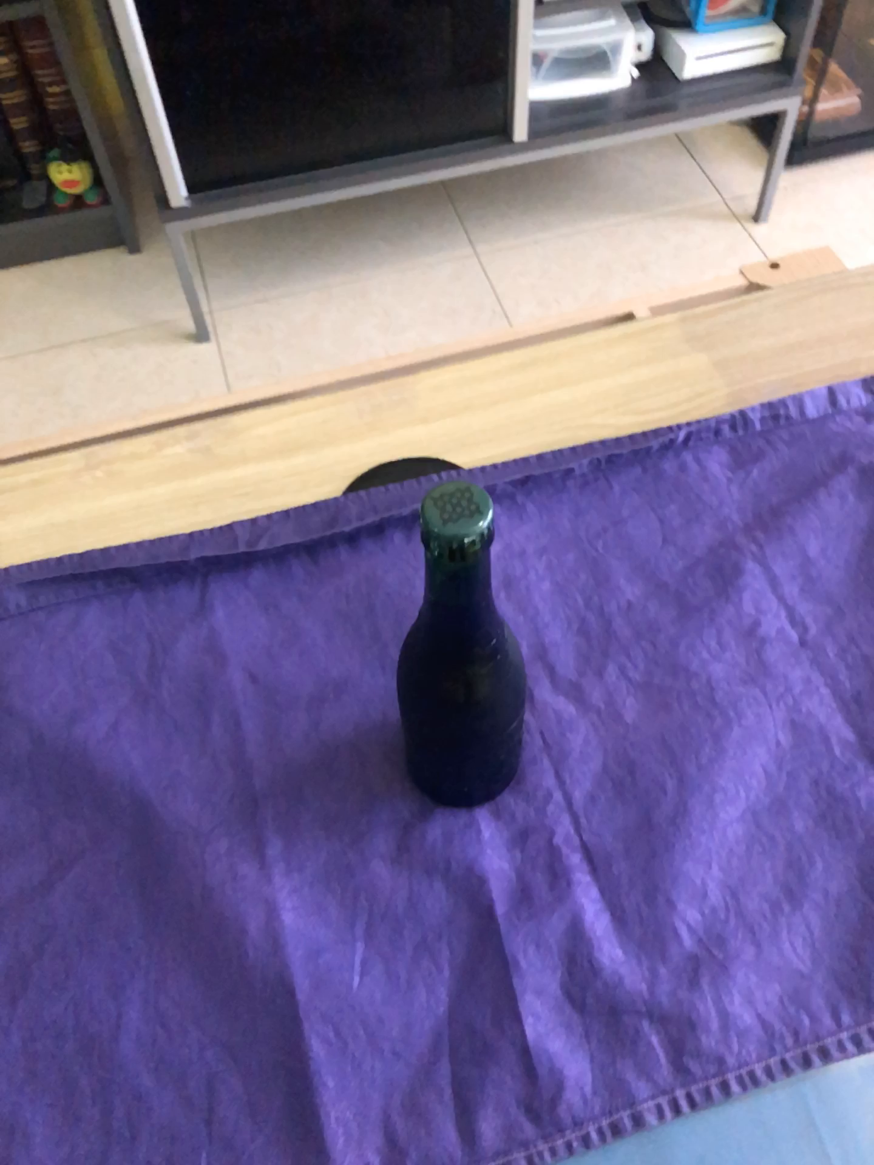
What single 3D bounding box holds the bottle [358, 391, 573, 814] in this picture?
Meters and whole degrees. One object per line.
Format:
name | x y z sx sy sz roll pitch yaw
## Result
bottle | 0.016 0.023 0.431 0.070 0.219 0.080 3 57 4
